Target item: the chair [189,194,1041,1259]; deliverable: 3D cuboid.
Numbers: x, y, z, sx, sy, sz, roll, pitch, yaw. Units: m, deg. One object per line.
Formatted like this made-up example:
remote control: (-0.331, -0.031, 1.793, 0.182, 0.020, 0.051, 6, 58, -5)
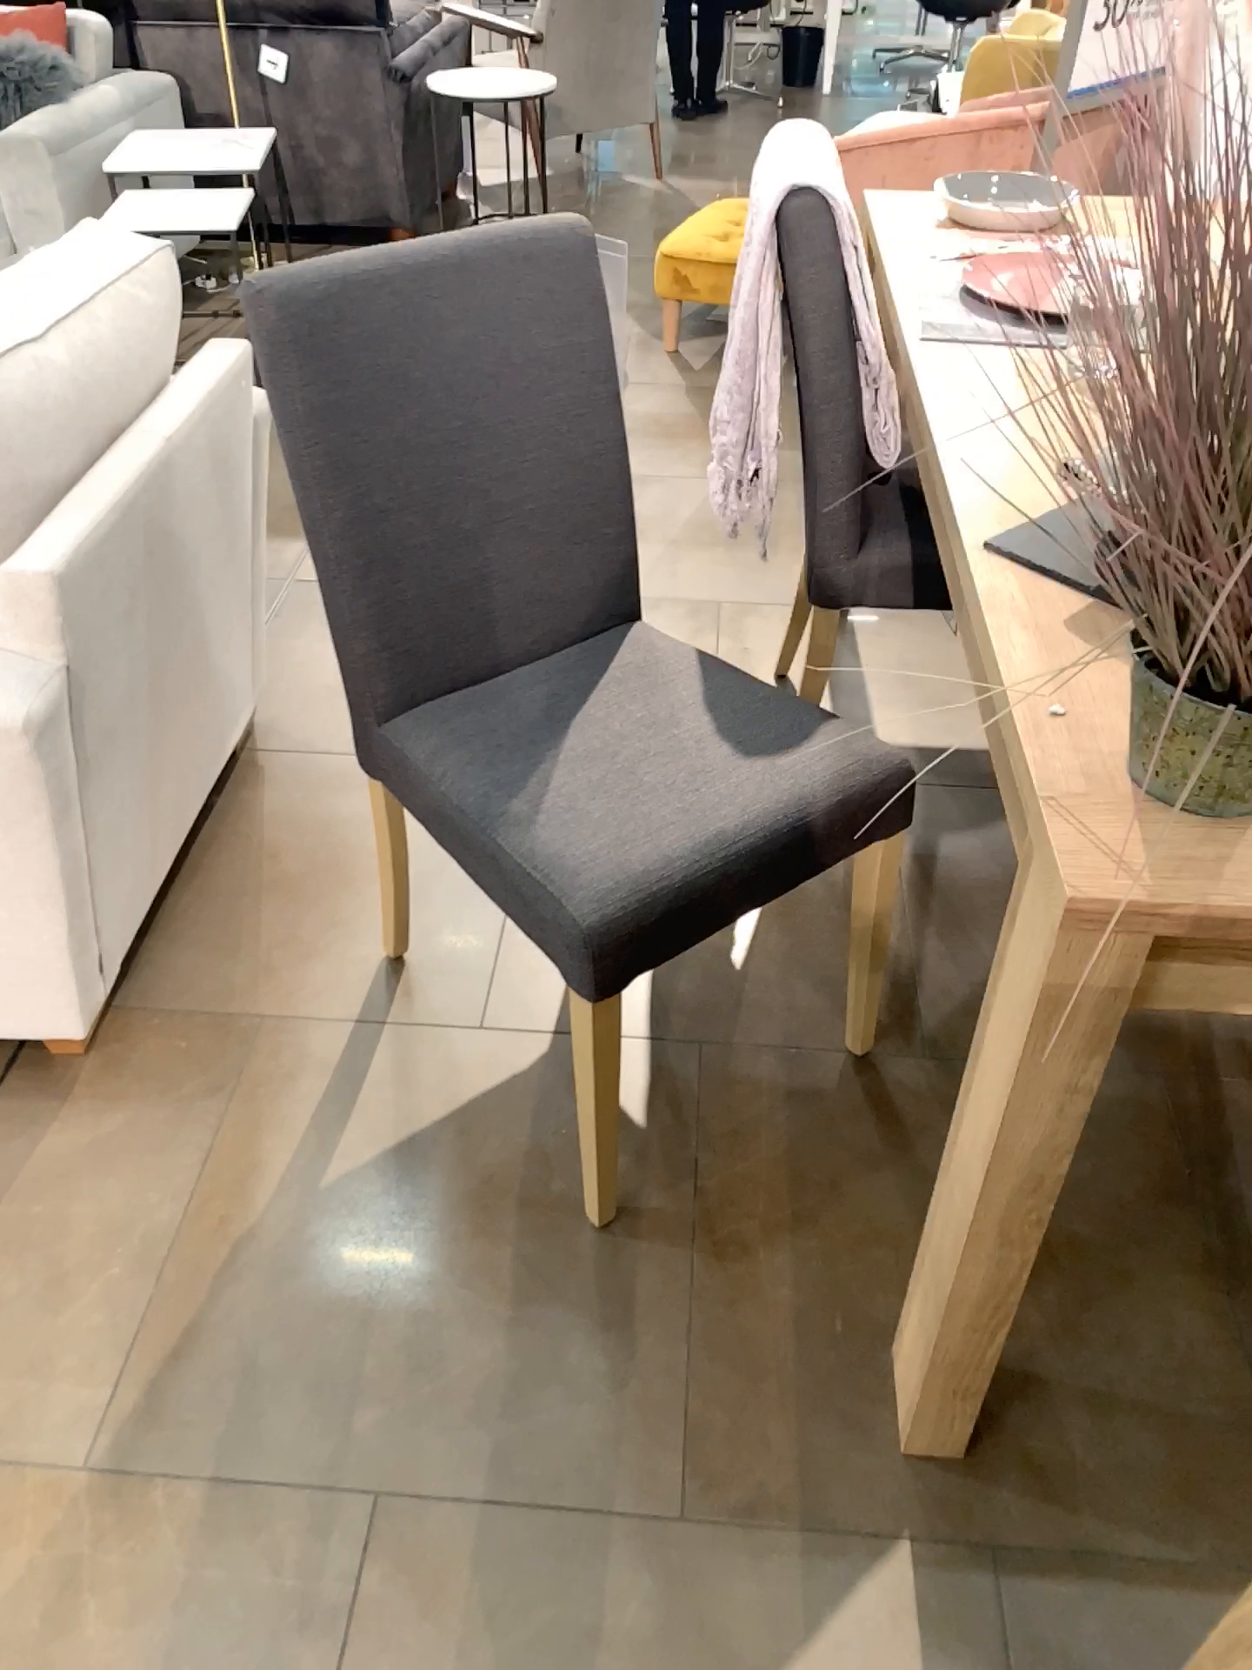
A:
chair: (-0.041, -0.135, 1.419, 0.507, 0.889, 0.618, -24, 45, -27)
